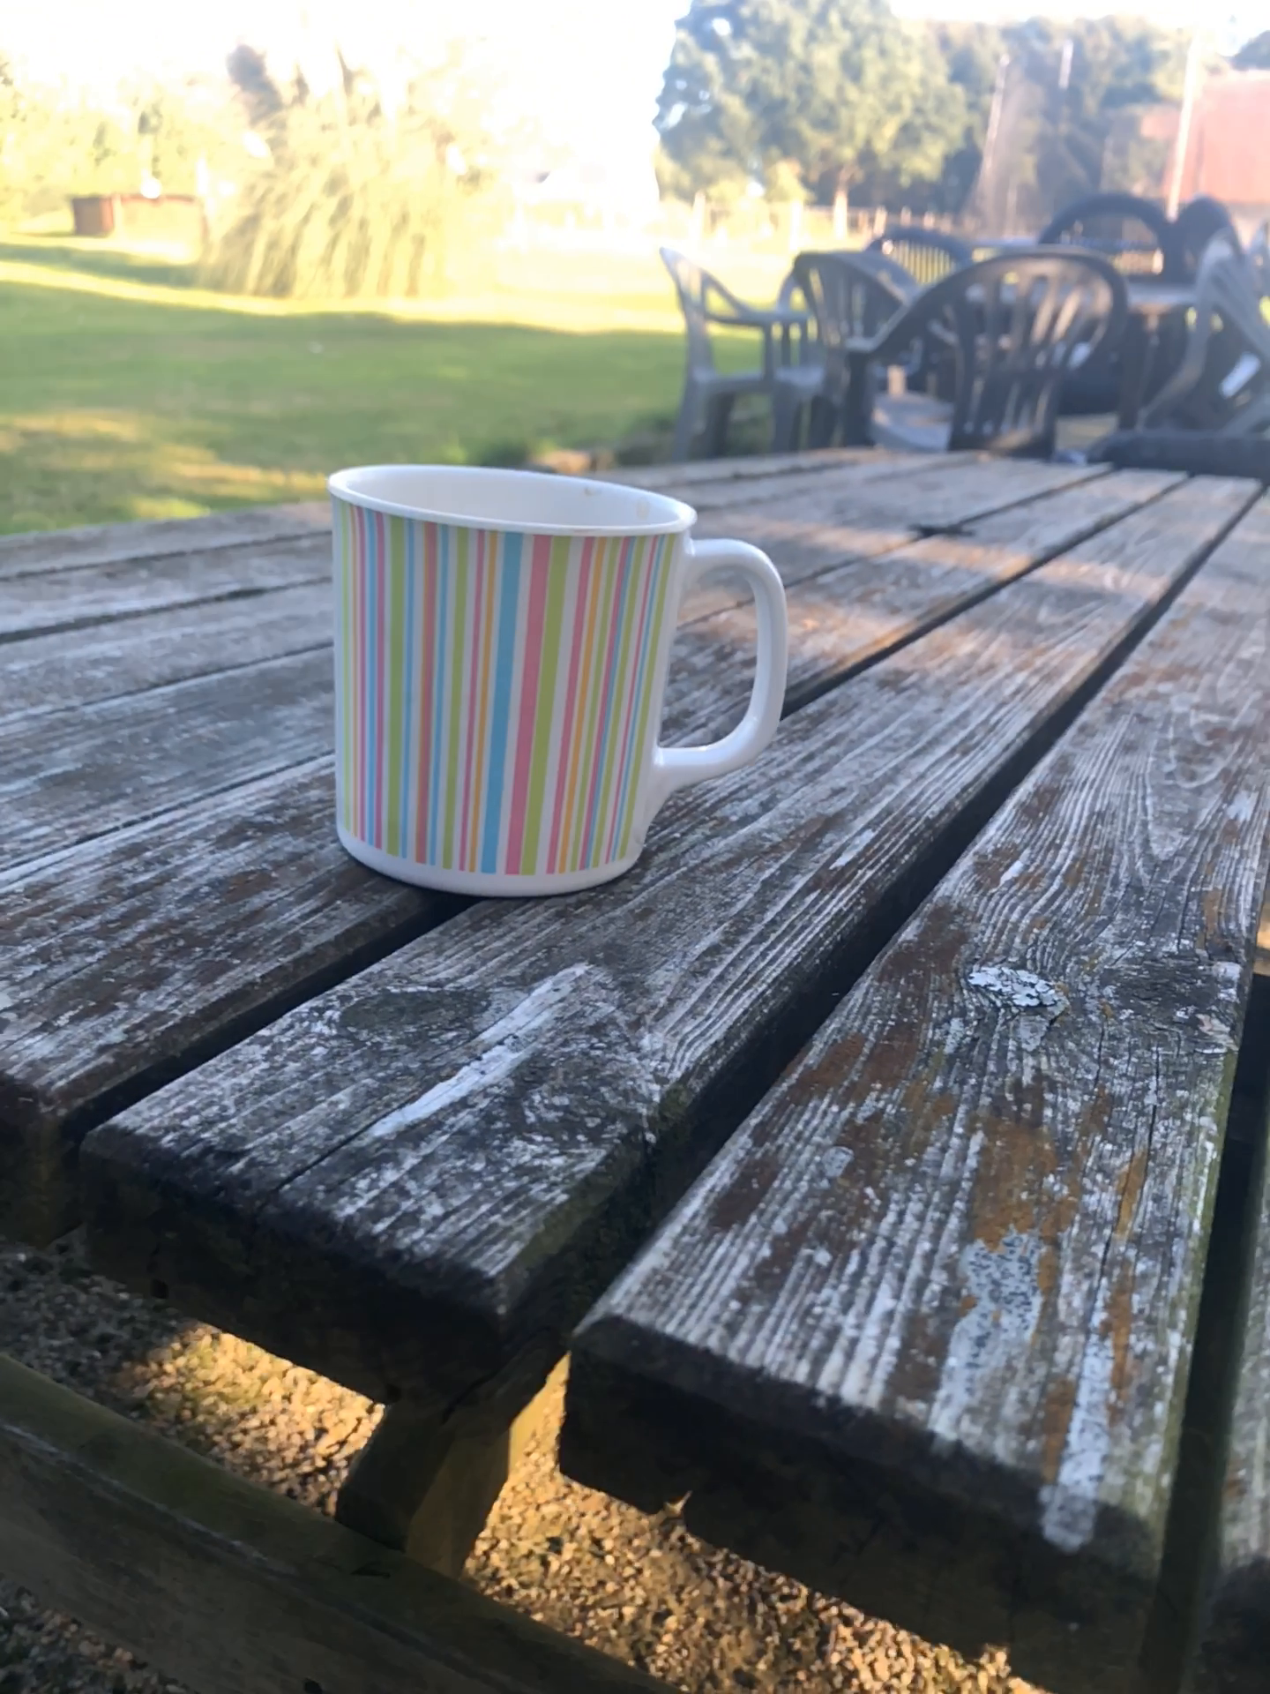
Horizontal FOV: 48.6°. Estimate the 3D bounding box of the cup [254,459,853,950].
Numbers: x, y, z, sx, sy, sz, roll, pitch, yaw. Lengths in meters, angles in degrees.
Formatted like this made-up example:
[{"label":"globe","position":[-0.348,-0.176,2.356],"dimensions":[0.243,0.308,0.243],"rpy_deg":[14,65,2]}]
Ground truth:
[{"label":"cup","position":[-0.028,-0.040,0.375],"dimensions":[0.133,0.096,0.099],"rpy_deg":[2,24,-10]}]
